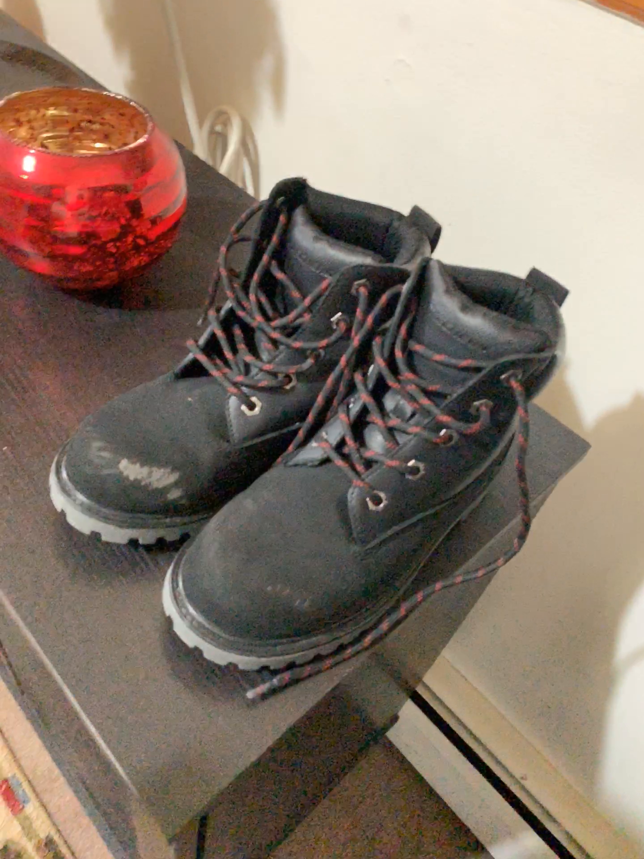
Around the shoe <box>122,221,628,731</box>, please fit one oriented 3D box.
[{"bbox_3d":[0.027,0.013,0.348,0.231,0.158,0.100,-30,61,-35],"label":"shoe"}]

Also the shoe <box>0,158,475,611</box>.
[{"bbox_3d":[-0.043,-0.035,0.374,0.221,0.158,0.100,-30,61,-35],"label":"shoe"}]
